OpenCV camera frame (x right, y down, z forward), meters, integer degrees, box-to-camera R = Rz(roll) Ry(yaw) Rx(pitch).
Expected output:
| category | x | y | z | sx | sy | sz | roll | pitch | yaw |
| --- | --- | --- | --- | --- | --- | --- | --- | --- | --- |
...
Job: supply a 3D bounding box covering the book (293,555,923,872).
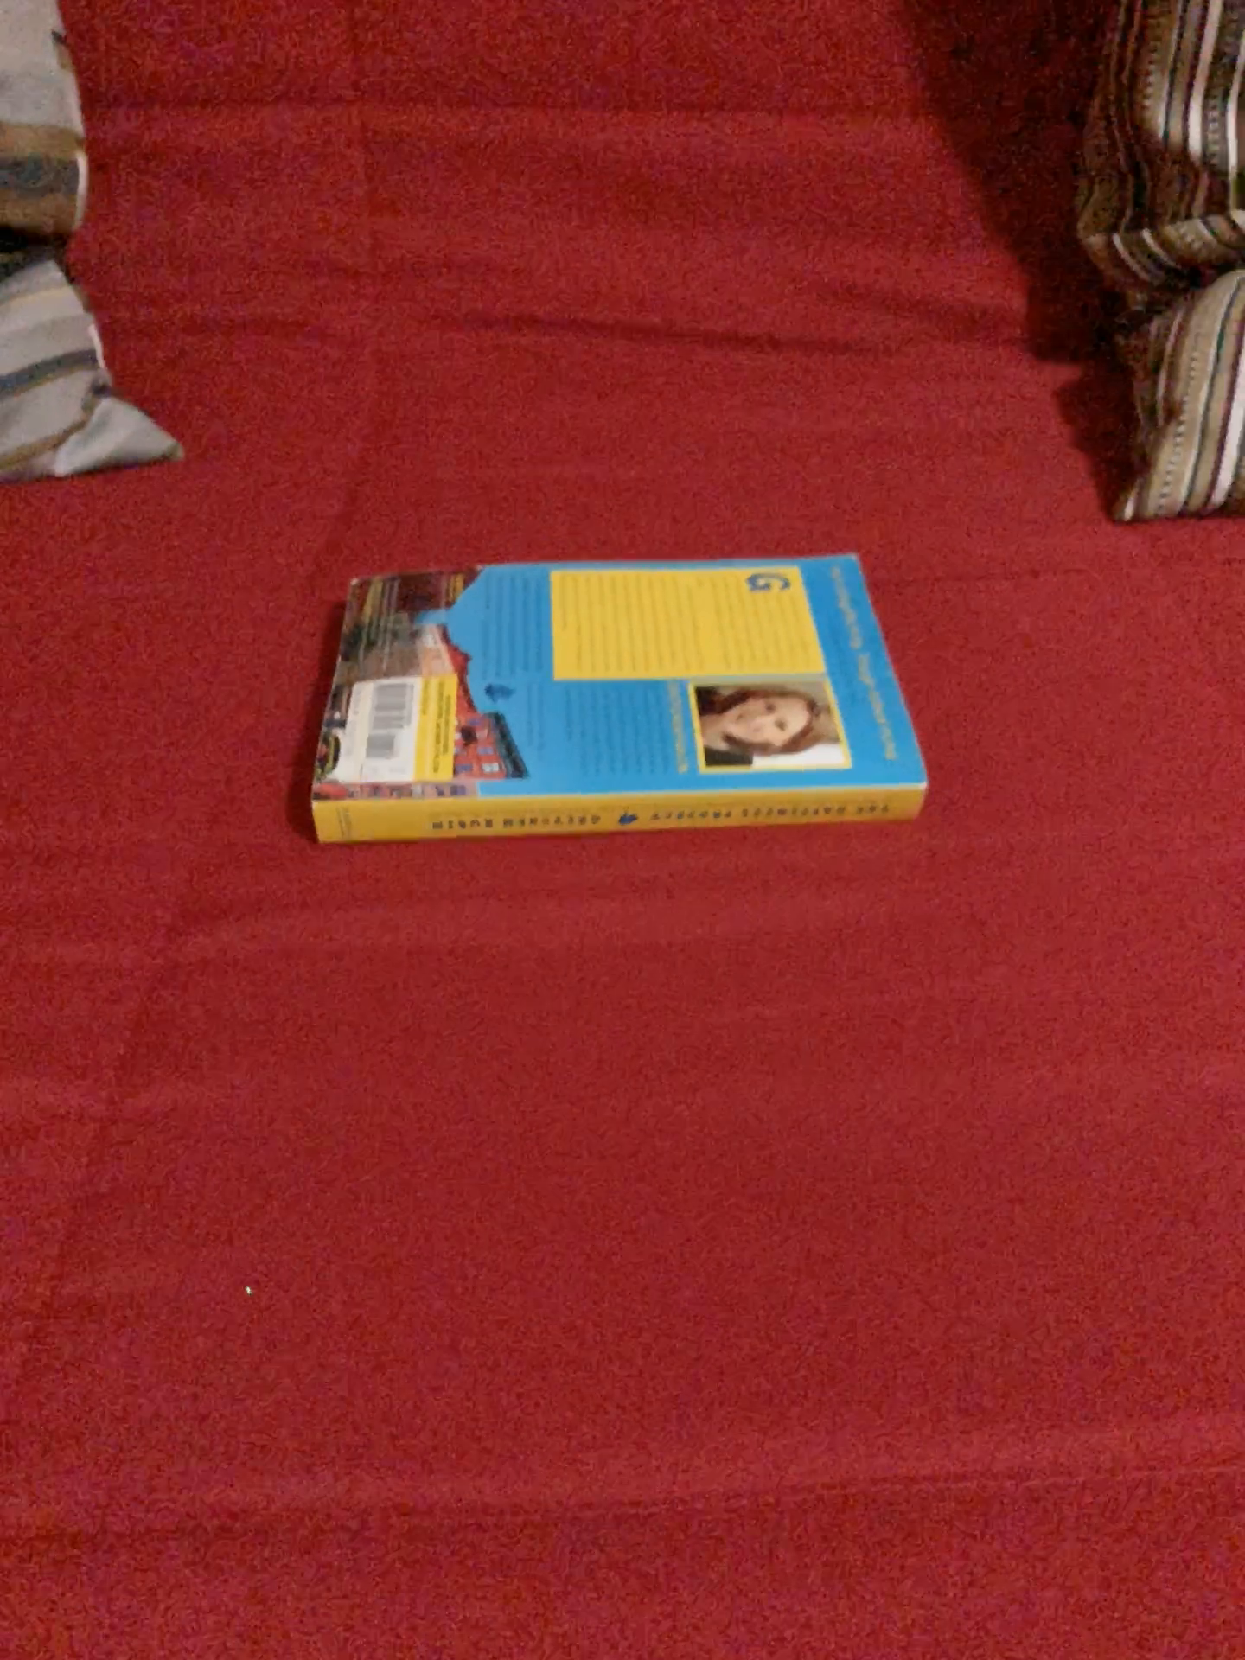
| category | x | y | z | sx | sy | sz | roll | pitch | yaw |
| --- | --- | --- | --- | --- | --- | --- | --- | --- | --- |
| book | -0.007 | -0.048 | 0.471 | 0.202 | 0.033 | 0.133 | -2 | 44 | -1 |
